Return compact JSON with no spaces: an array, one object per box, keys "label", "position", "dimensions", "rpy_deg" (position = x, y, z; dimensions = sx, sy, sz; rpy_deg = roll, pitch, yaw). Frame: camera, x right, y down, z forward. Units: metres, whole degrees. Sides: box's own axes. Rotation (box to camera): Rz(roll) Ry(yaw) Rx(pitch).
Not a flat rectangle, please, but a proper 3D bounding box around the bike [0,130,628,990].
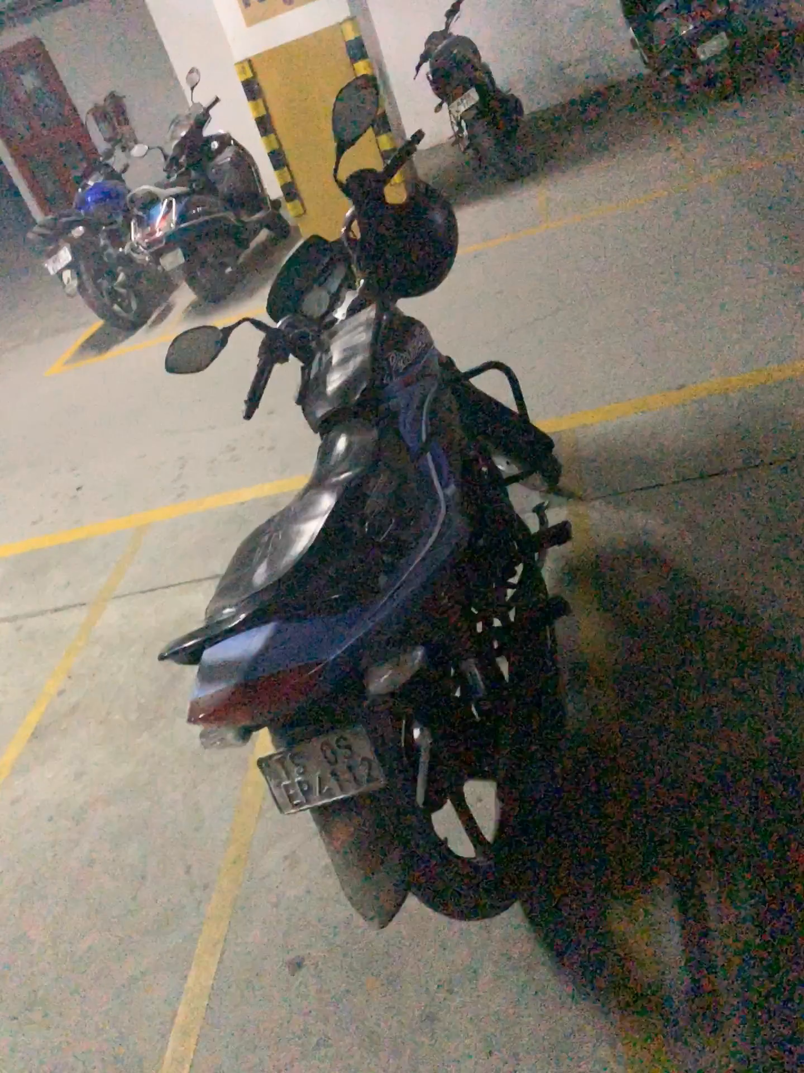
[{"label":"bike","position":[-0.178,-0.112,1.888],"dimensions":[0.781,1.107,1.708],"rpy_deg":[-15,33,10]}]
